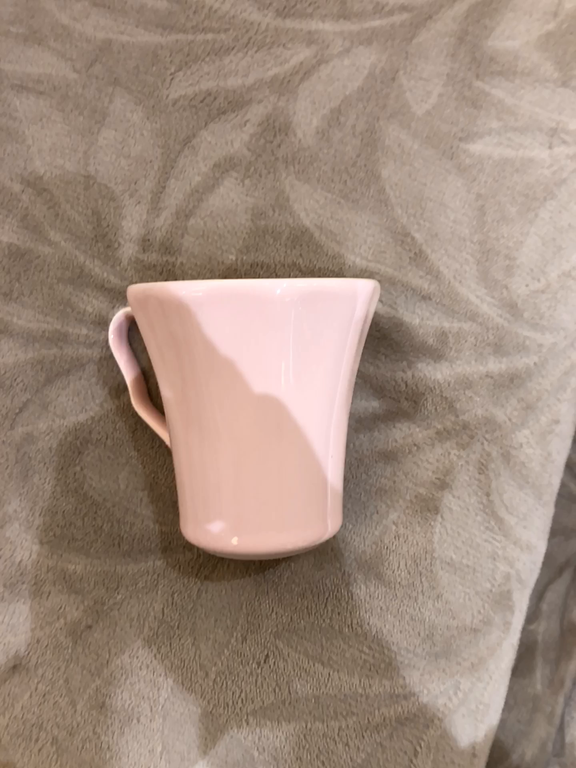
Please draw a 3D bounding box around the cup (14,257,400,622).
[{"bbox_3d":[-0.024,0.011,0.213,0.100,0.070,0.090,0,95,31],"label":"cup"}]
